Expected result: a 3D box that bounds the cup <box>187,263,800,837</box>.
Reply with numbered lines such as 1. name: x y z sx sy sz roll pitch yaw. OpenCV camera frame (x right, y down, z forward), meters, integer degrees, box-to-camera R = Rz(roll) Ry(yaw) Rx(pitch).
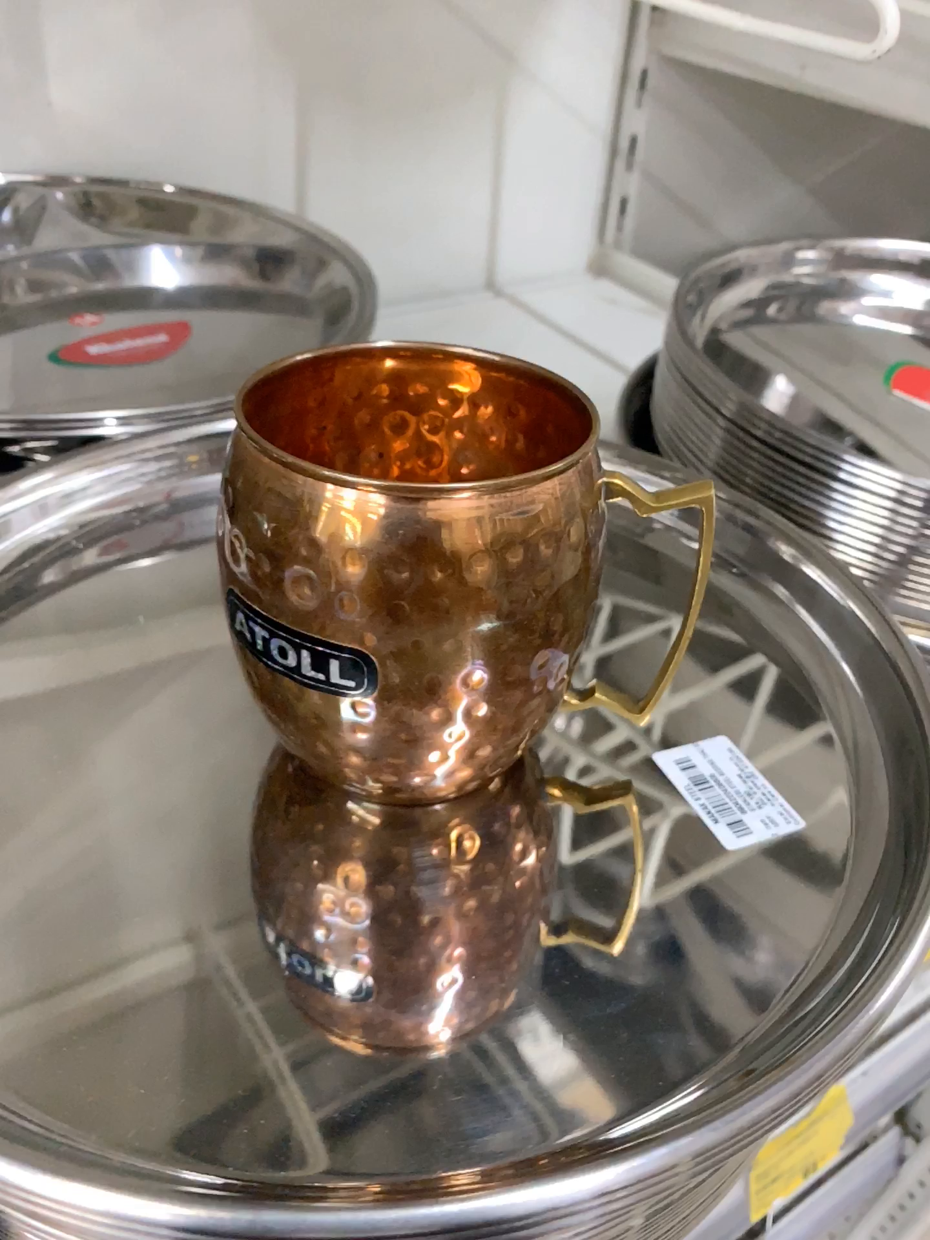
1. cup: 0.008 -0.020 0.235 0.110 0.090 0.090 8 39 5
